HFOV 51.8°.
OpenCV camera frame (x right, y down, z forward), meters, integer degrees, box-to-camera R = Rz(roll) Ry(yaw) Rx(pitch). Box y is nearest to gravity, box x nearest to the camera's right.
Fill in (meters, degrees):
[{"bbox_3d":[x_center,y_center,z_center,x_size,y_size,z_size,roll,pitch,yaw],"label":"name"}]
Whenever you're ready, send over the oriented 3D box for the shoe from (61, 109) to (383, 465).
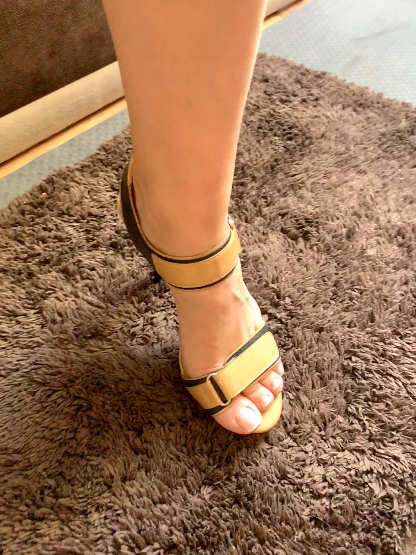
[{"bbox_3d":[-0.006,0.005,0.317,0.090,0.149,0.201,-29,60,-23],"label":"shoe"}]
